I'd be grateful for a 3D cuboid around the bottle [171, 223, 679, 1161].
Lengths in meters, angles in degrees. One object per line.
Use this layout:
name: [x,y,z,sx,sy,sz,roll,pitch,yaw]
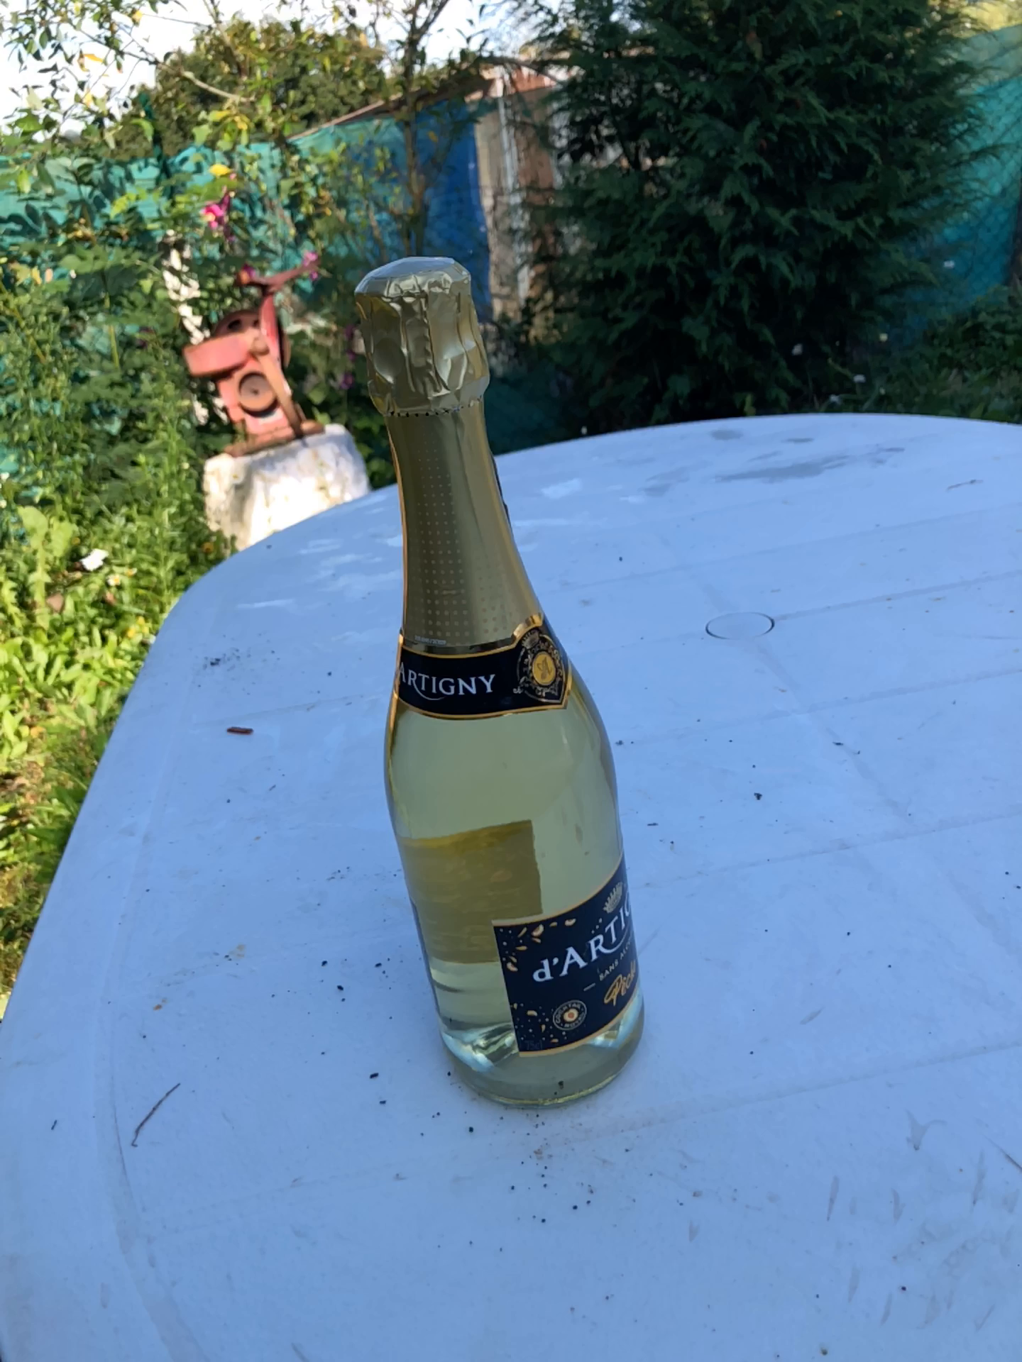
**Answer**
bottle: [-0.014,0.010,0.389,0.090,0.298,0.091,-7,27,3]
